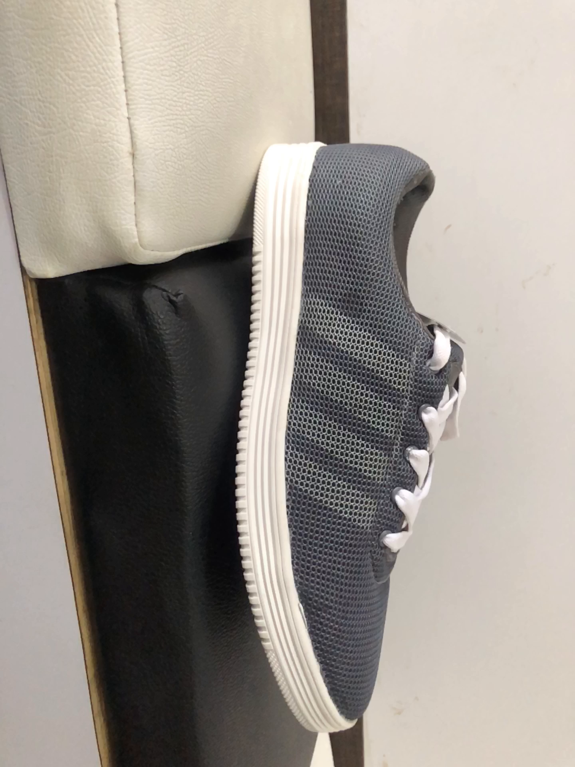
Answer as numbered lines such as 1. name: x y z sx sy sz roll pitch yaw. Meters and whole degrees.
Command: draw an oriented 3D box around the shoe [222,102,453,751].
1. shoe: 0.037 0.016 0.354 0.100 0.100 0.300 34 57 -75
